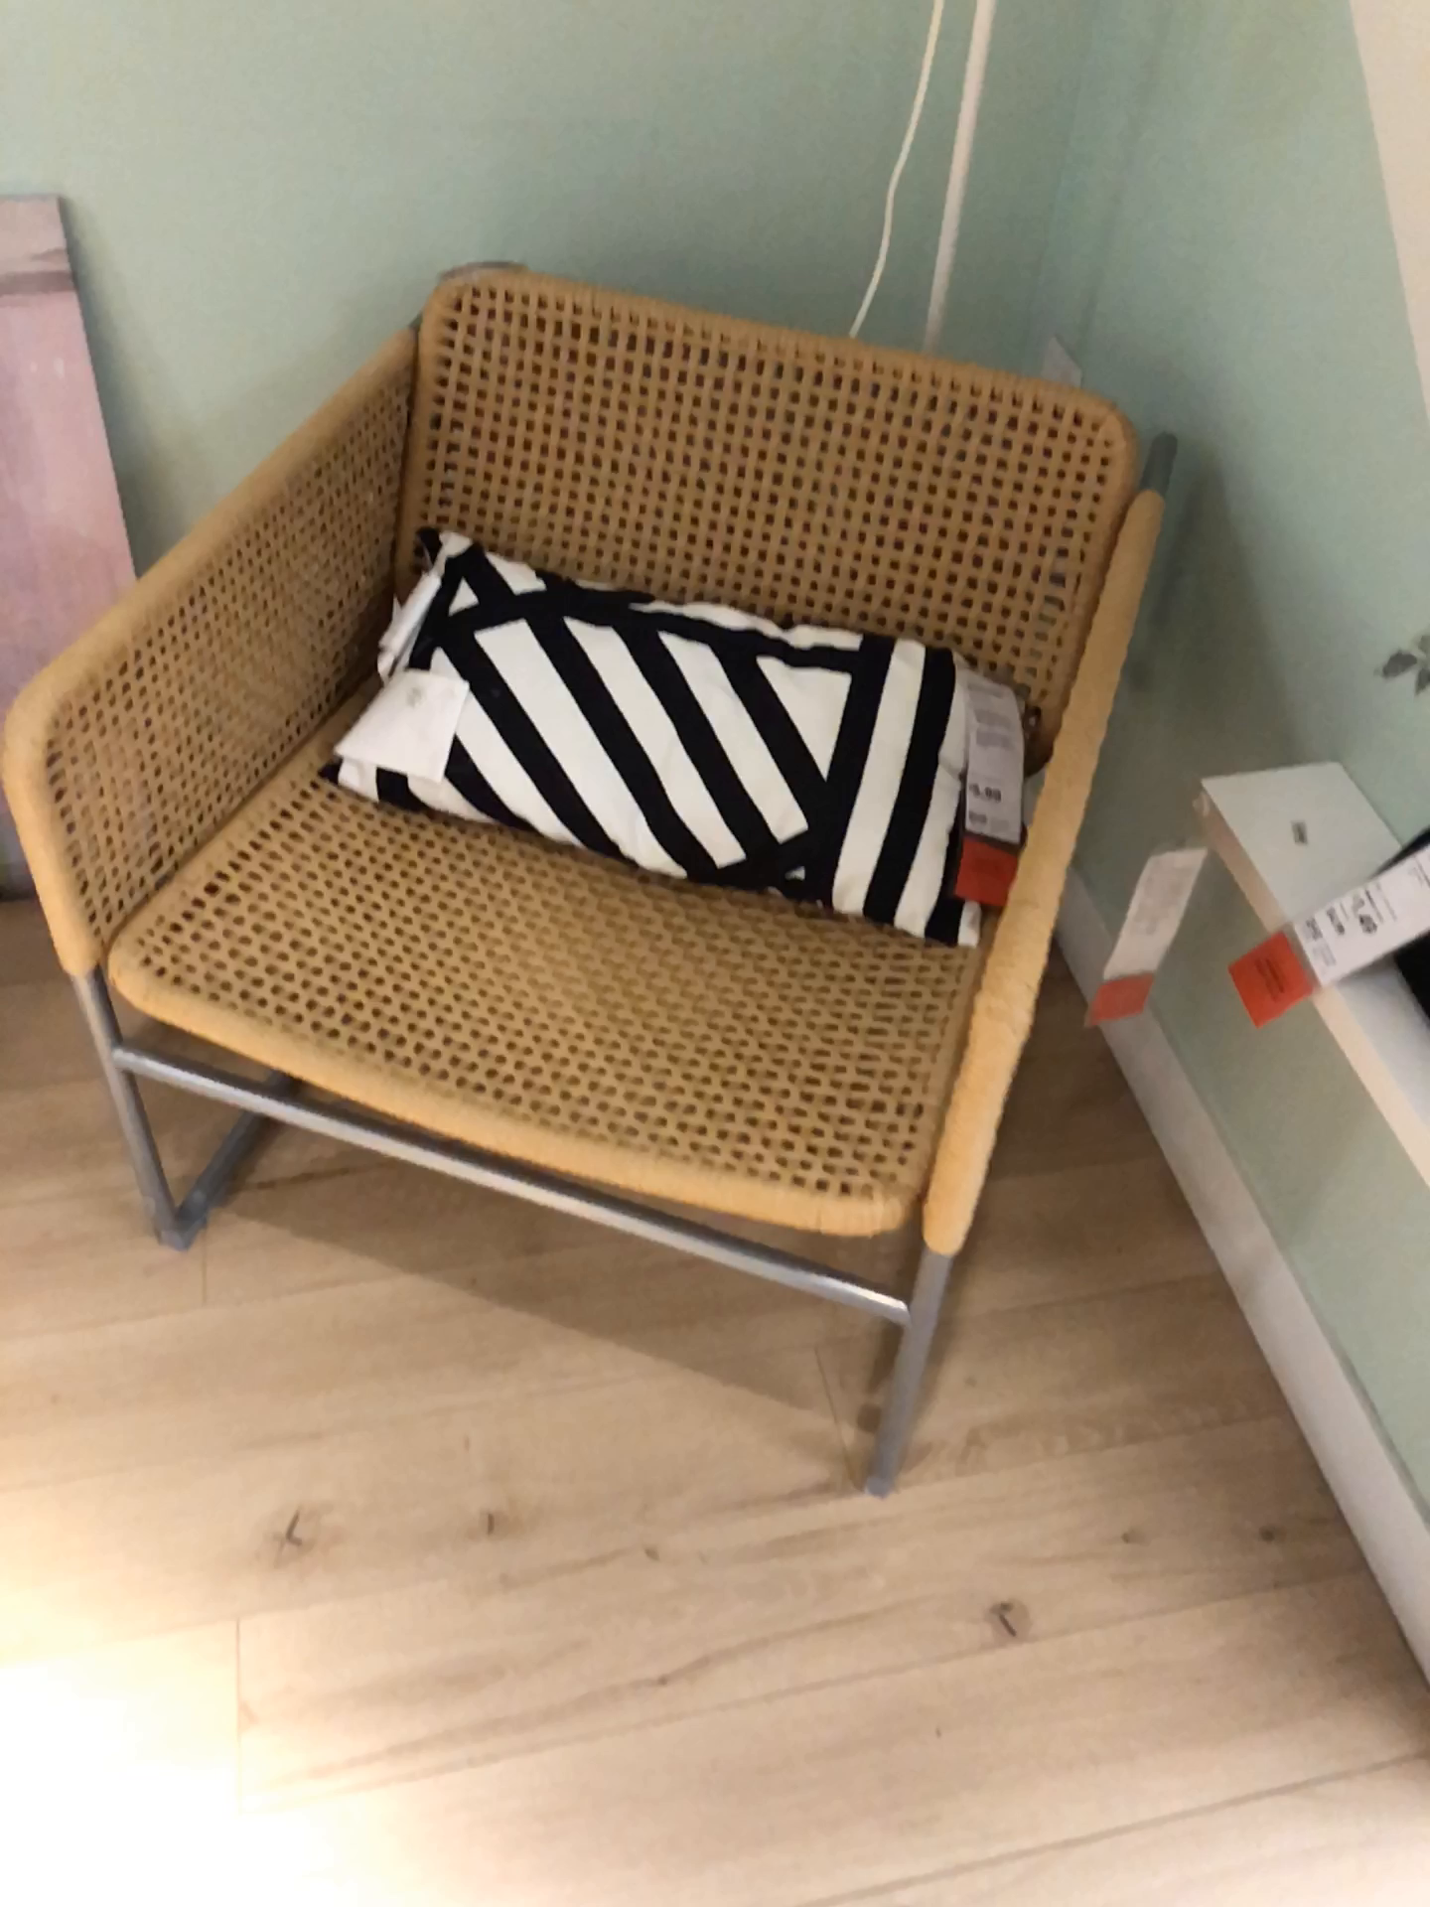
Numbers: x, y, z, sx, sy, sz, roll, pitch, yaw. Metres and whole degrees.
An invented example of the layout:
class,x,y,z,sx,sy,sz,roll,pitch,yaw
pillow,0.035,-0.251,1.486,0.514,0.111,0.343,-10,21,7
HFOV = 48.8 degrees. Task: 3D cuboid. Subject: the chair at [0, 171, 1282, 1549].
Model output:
class,x,y,z,sx,sy,sz,roll,pitch,yaw
chair,-0.058,-0.118,1.304,0.790,0.628,0.752,16,48,10
